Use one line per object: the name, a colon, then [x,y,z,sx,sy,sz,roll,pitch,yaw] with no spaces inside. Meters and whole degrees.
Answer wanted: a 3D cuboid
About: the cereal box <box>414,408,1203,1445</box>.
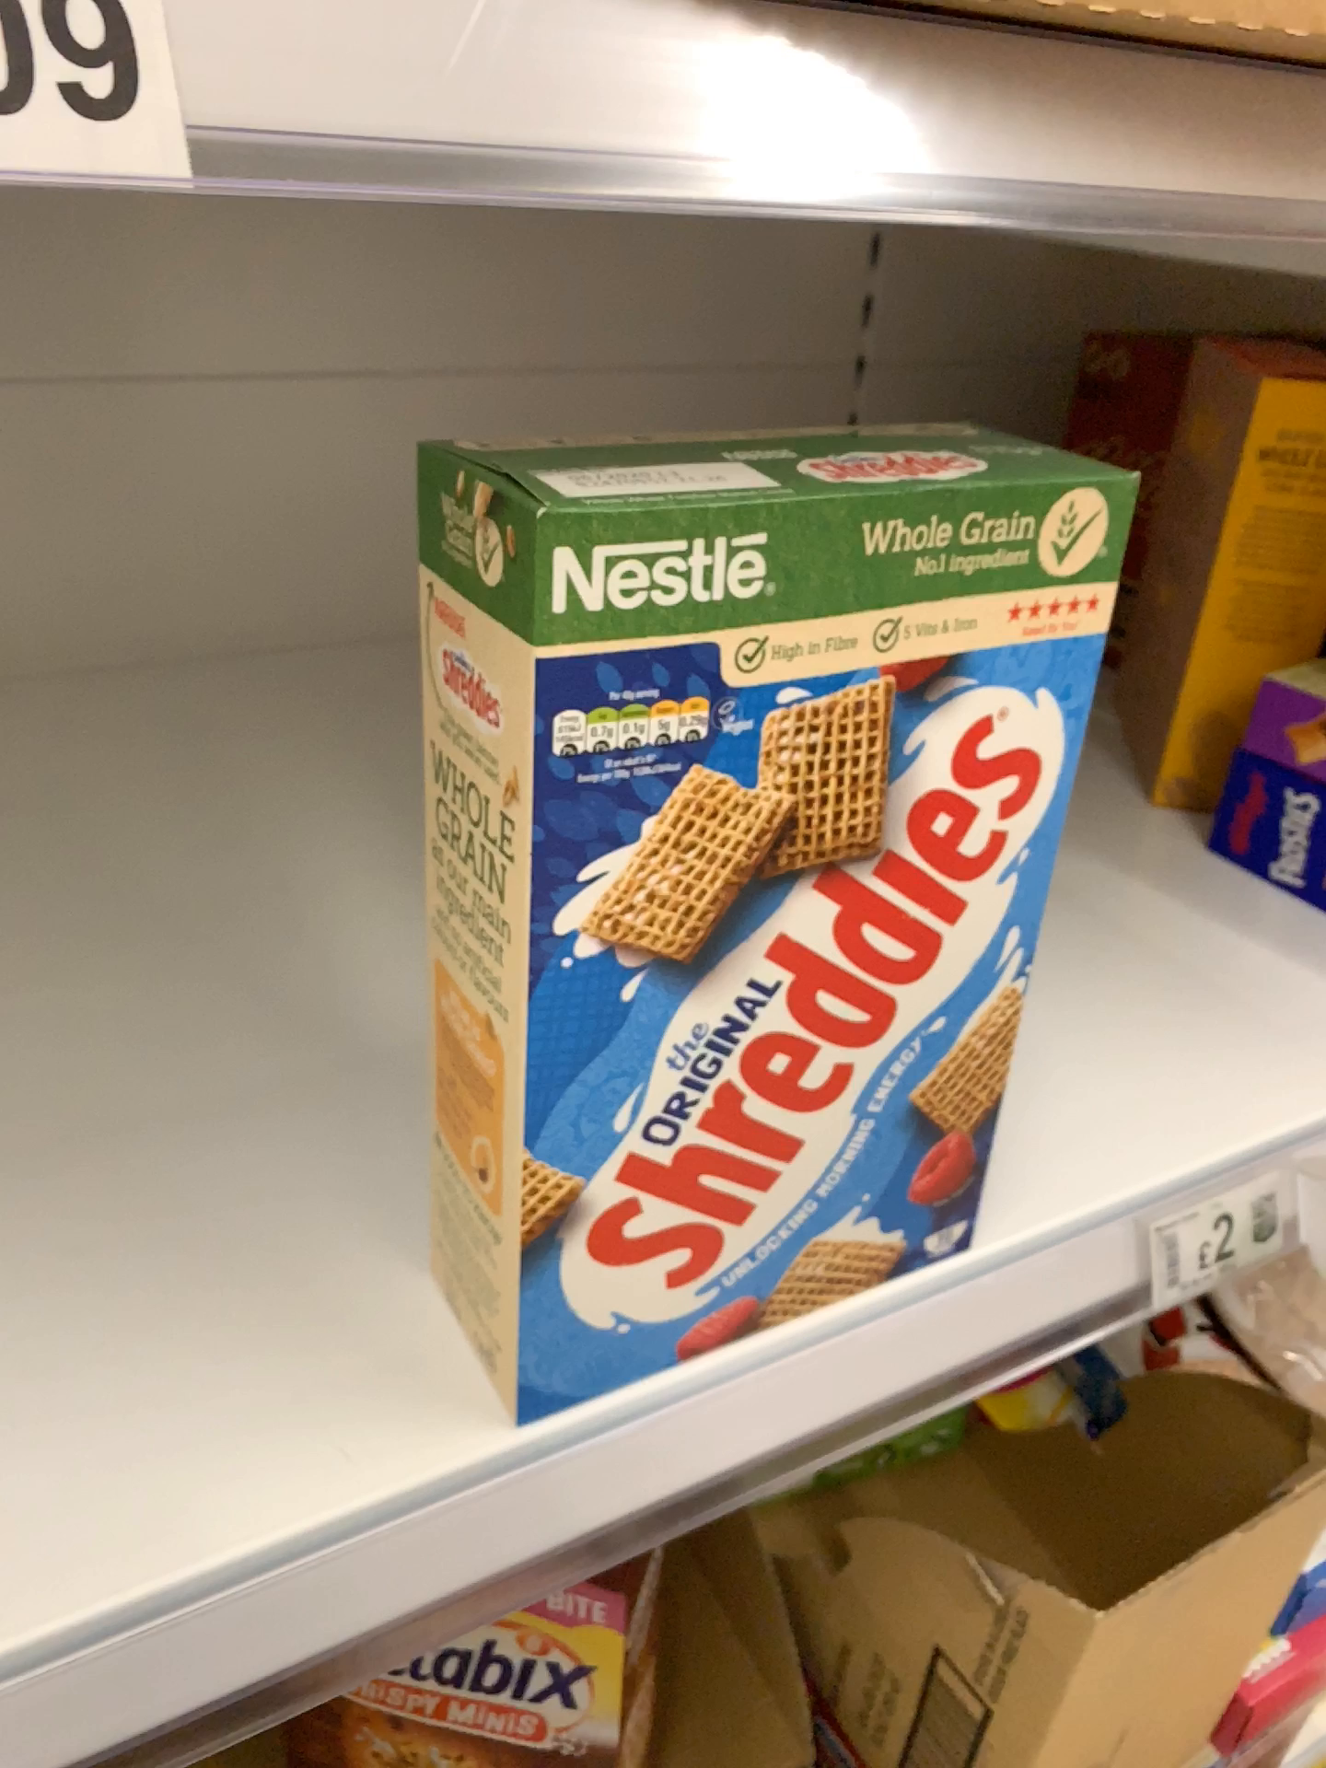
cereal box: [0.033,0.010,0.434,0.201,0.287,0.080,-11,32,-27]
